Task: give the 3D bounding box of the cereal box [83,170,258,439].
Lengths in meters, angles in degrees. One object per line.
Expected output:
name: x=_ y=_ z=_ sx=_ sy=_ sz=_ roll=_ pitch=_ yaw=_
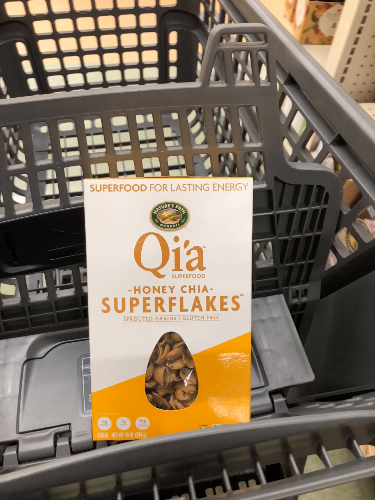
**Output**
cereal box: x=-0.017 y=0.052 z=0.430 sx=0.160 sy=0.070 sz=0.260 roll=0 pitch=96 yaw=-2
